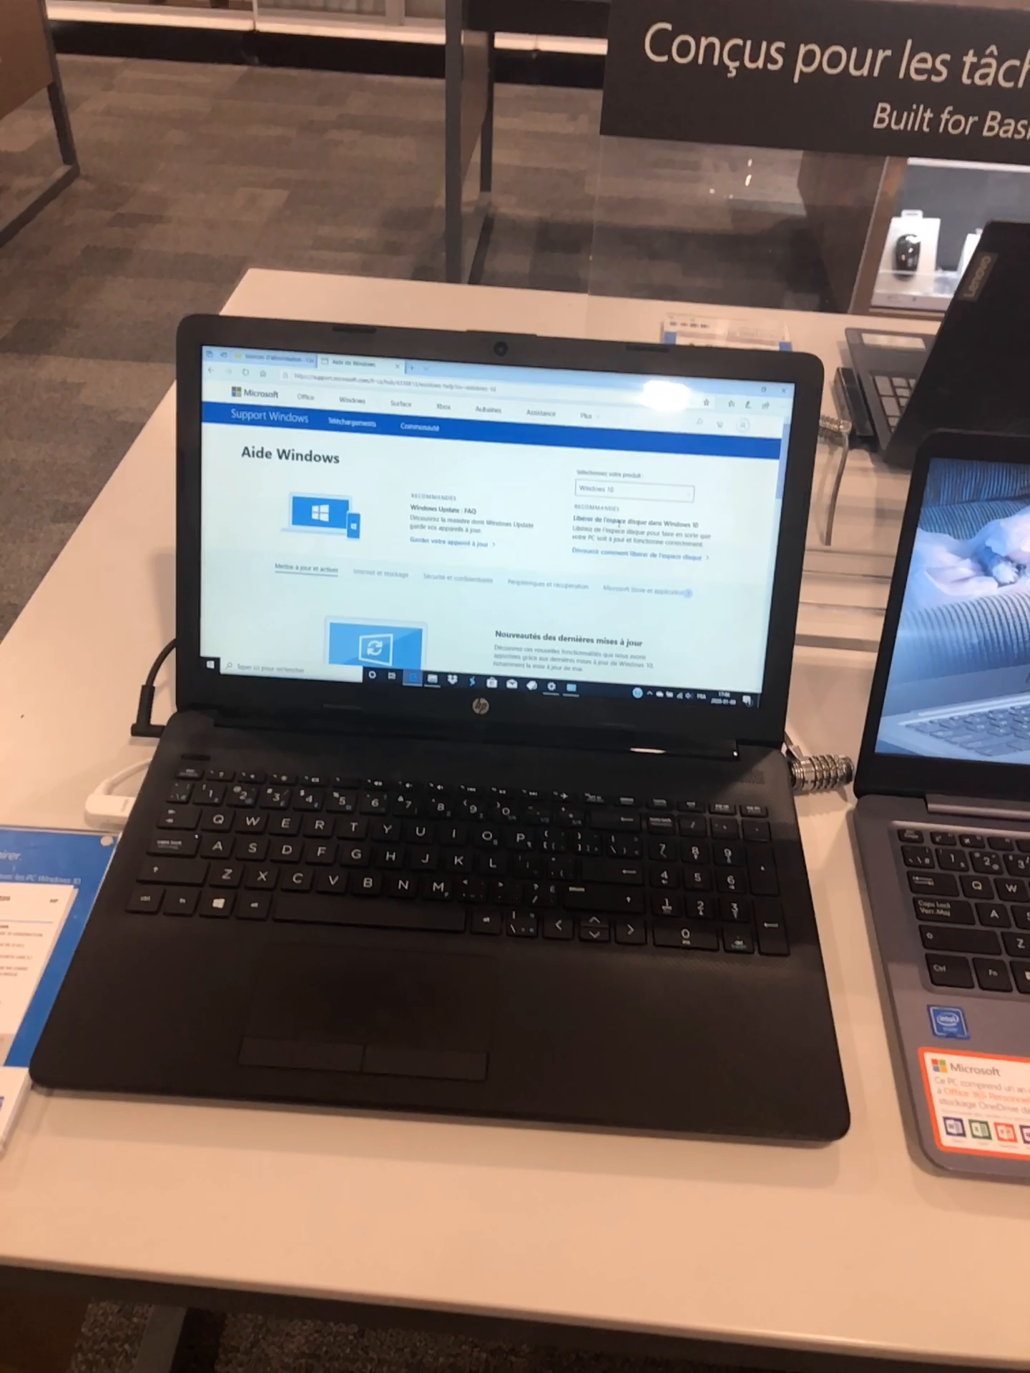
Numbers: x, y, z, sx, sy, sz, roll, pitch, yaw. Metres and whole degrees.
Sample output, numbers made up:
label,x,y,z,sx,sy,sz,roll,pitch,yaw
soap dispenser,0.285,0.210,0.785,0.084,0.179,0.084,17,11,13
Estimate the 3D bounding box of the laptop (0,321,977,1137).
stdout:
label,x,y,z,sx,sy,sz,roll,pitch,yaw
laptop,-0.024,-0.007,0.569,0.356,0.195,0.361,3,41,2
